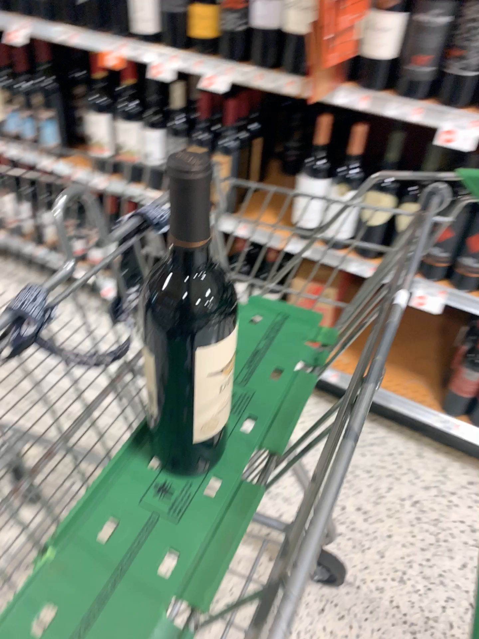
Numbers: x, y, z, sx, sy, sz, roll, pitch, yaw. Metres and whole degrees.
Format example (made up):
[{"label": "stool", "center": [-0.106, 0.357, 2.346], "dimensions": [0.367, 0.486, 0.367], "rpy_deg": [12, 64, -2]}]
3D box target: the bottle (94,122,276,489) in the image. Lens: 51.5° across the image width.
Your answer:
[{"label": "bottle", "center": [-0.037, 0.009, 0.409], "dimensions": [0.090, 0.297, 0.091], "rpy_deg": [2, 41, -2]}]
